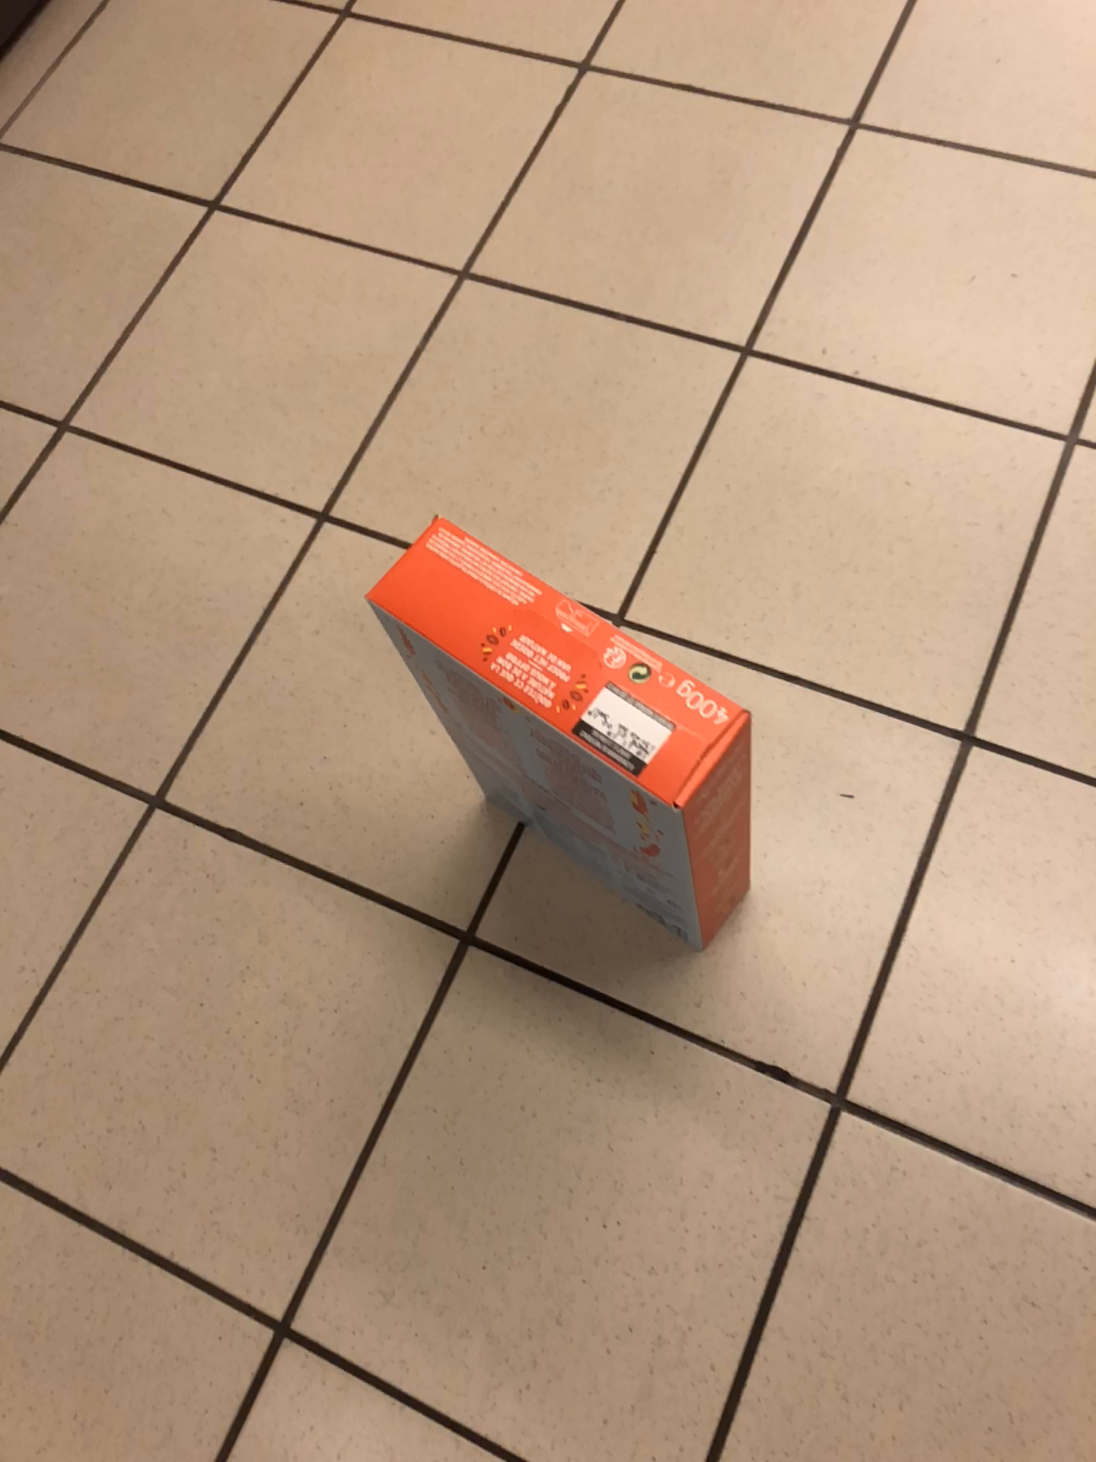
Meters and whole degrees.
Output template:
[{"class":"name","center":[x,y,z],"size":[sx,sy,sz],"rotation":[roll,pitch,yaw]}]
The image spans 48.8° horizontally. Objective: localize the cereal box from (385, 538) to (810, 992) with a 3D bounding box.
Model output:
[{"class":"cereal box","center":[0.031,0.029,0.528],"size":[0.150,0.229,0.050],"rotation":[34,77,20]}]
